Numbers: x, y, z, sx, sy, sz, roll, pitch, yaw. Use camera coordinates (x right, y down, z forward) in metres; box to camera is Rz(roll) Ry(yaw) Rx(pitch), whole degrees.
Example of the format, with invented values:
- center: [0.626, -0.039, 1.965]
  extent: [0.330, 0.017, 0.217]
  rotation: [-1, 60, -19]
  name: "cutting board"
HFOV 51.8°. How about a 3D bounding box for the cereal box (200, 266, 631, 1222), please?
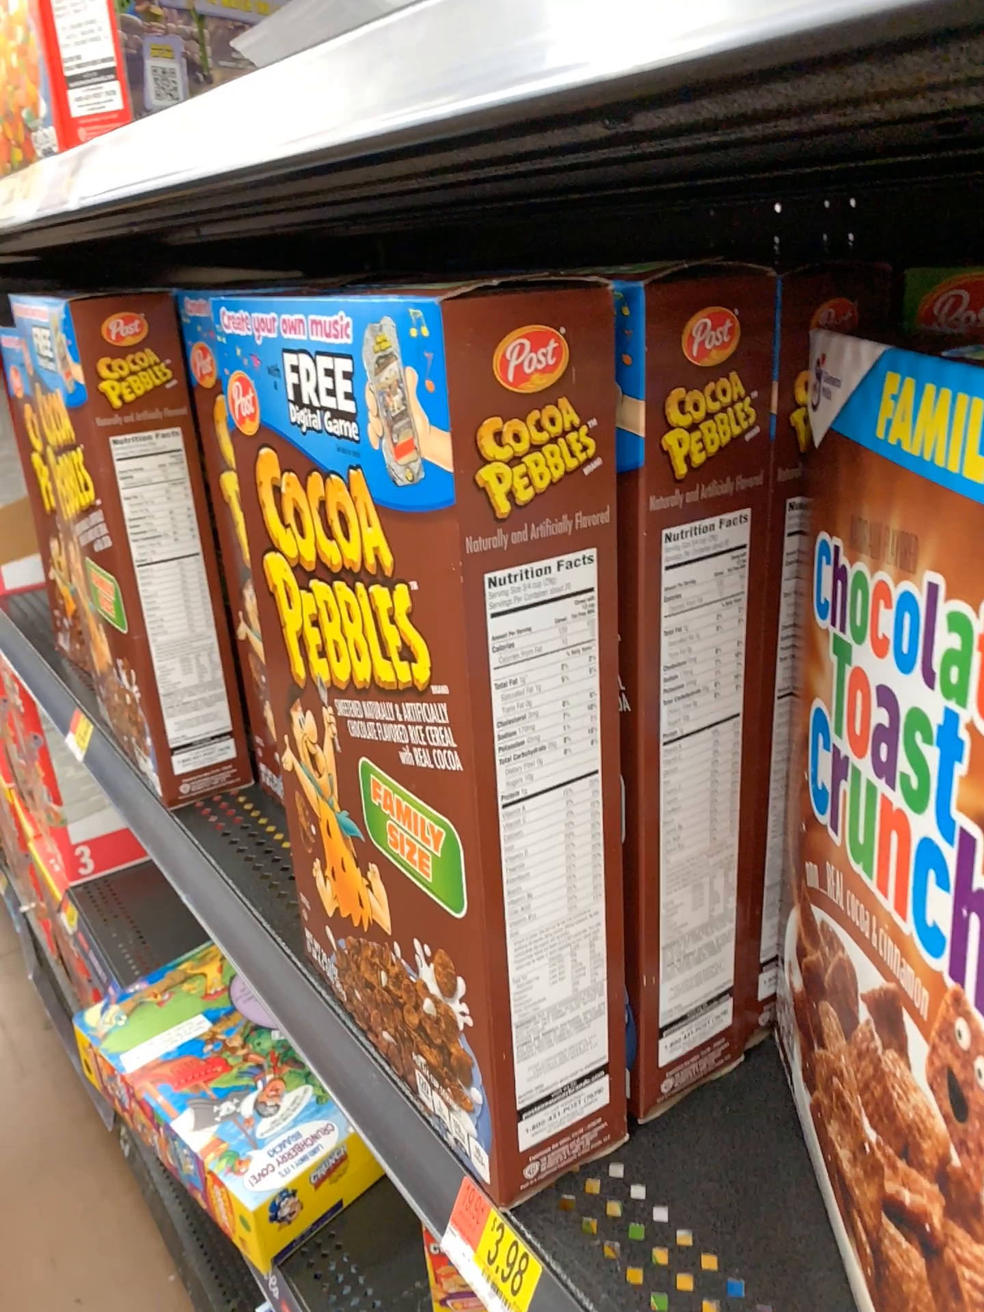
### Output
- center: [-0.032, 0.021, 0.411]
  extent: [0.060, 0.329, 0.201]
  rotation: [-16, 24, -29]
  name: "cereal box"
